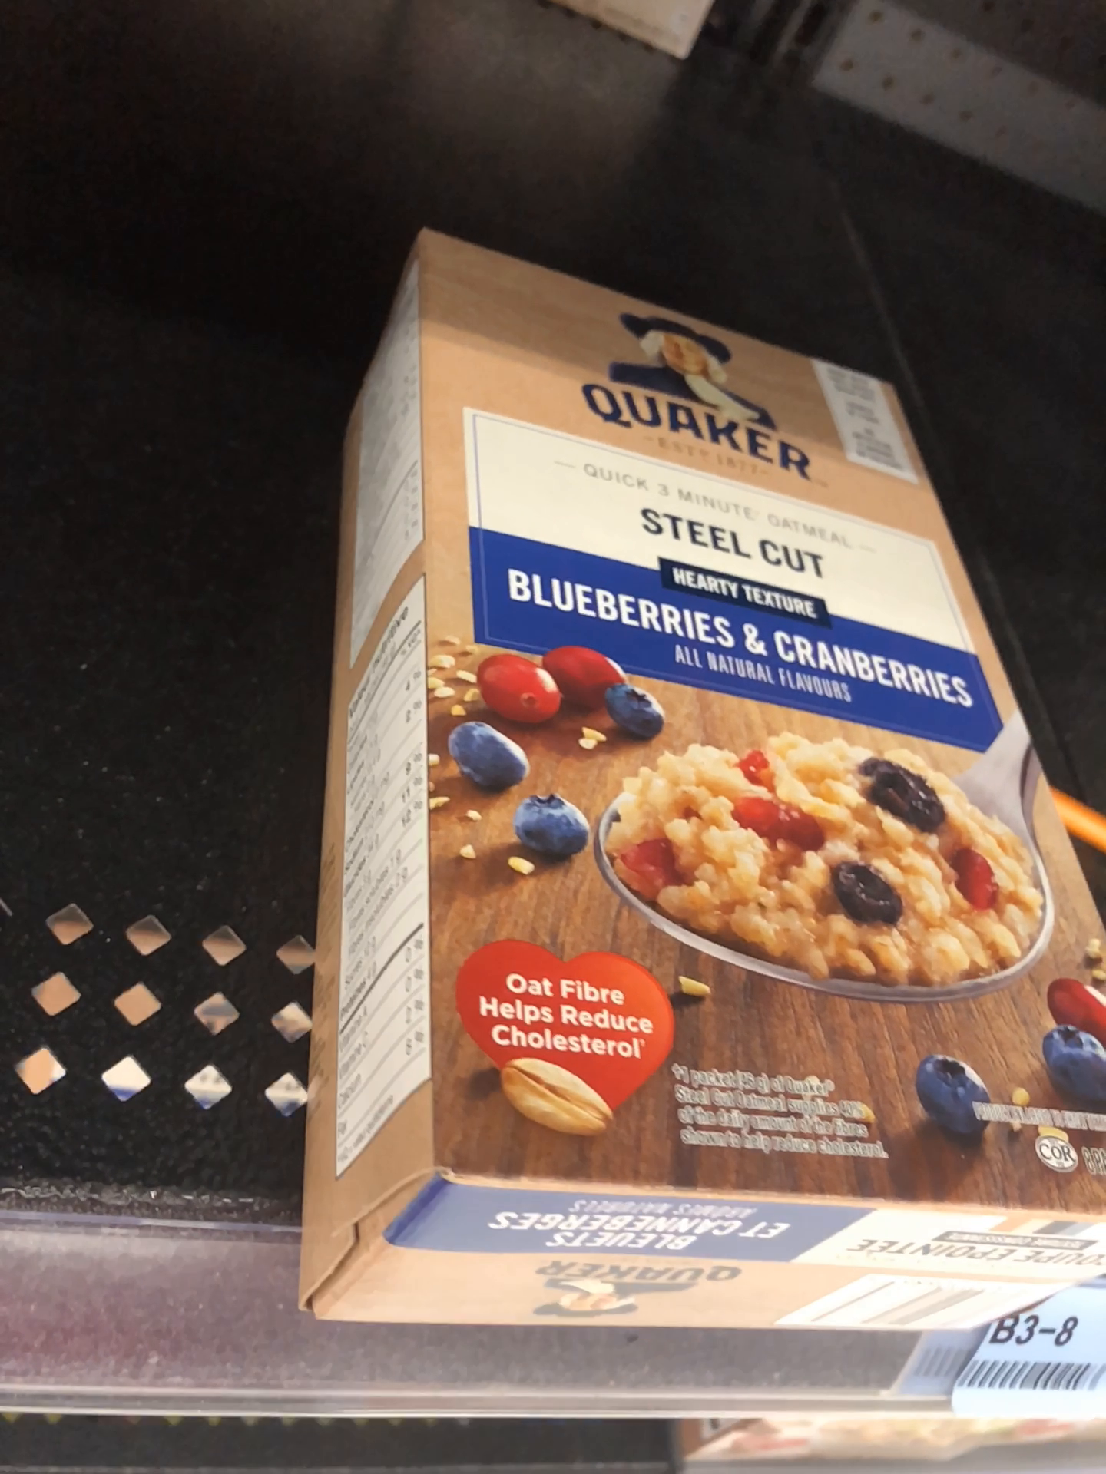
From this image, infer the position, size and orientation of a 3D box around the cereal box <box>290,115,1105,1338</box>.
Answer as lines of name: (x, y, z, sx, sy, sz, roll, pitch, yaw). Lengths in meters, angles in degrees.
cereal box: (0.025, -0.016, 0.253, 0.130, 0.060, 0.240, 11, 49, -20)
